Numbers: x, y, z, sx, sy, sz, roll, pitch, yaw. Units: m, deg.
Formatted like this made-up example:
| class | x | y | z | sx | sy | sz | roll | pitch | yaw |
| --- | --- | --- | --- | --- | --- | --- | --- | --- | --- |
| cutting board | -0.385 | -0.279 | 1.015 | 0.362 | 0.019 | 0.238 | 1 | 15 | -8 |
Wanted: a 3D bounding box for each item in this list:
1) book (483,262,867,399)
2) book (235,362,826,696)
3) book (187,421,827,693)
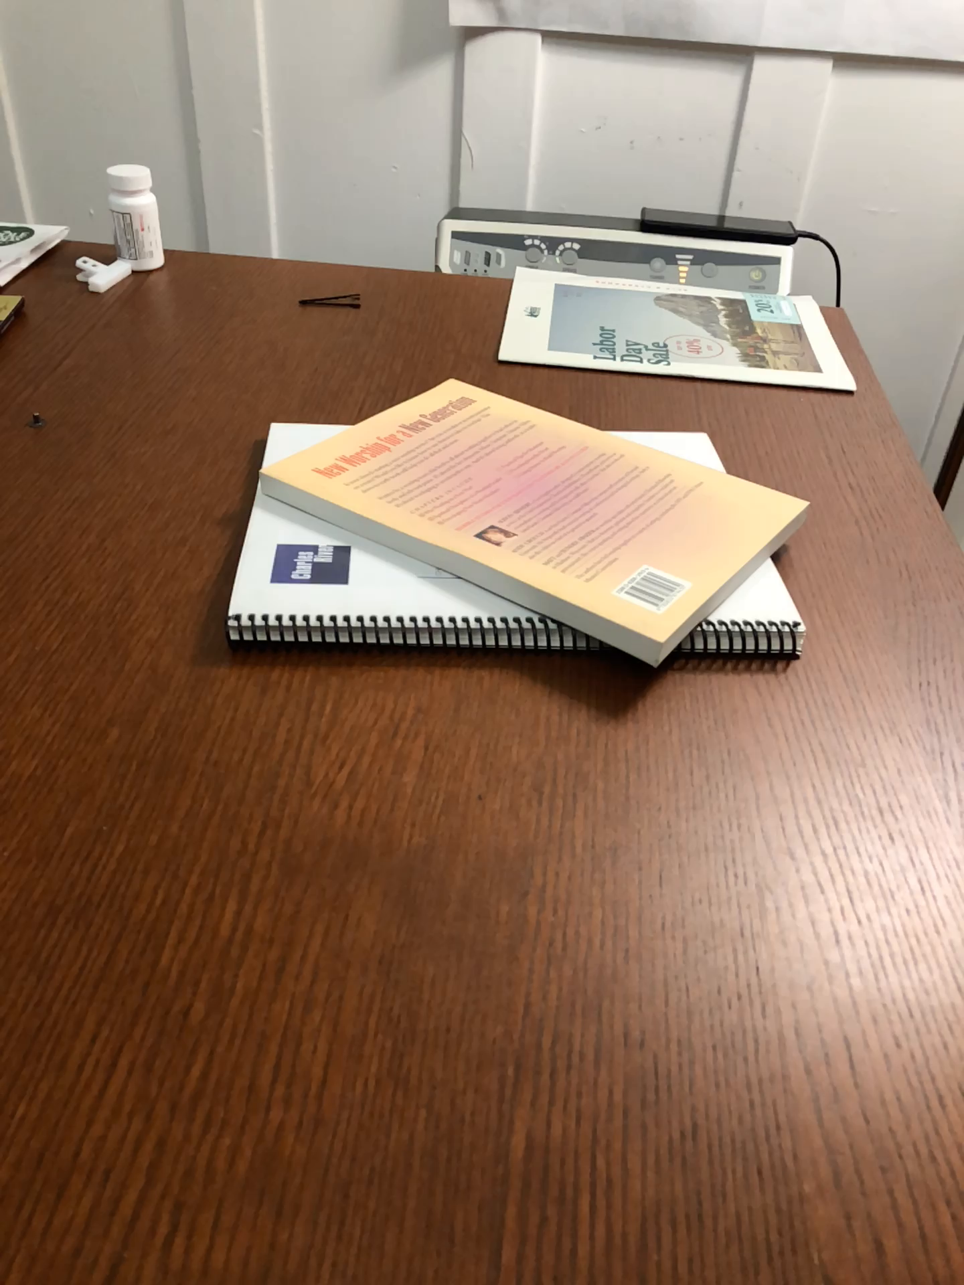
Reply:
| class | x | y | z | sx | sy | sz | roll | pitch | yaw |
| --- | --- | --- | --- | --- | --- | --- | --- | --- | --- |
| book | 0.143 | -0.250 | 0.828 | 0.270 | 0.010 | 0.201 | 5 | 37 | 1 |
| book | 0.028 | -0.080 | 0.581 | 0.260 | 0.020 | 0.191 | 26 | 42 | 26 |
| book | 0.007 | -0.056 | 0.575 | 0.290 | 0.020 | 0.231 | 1 | 38 | -5 |
